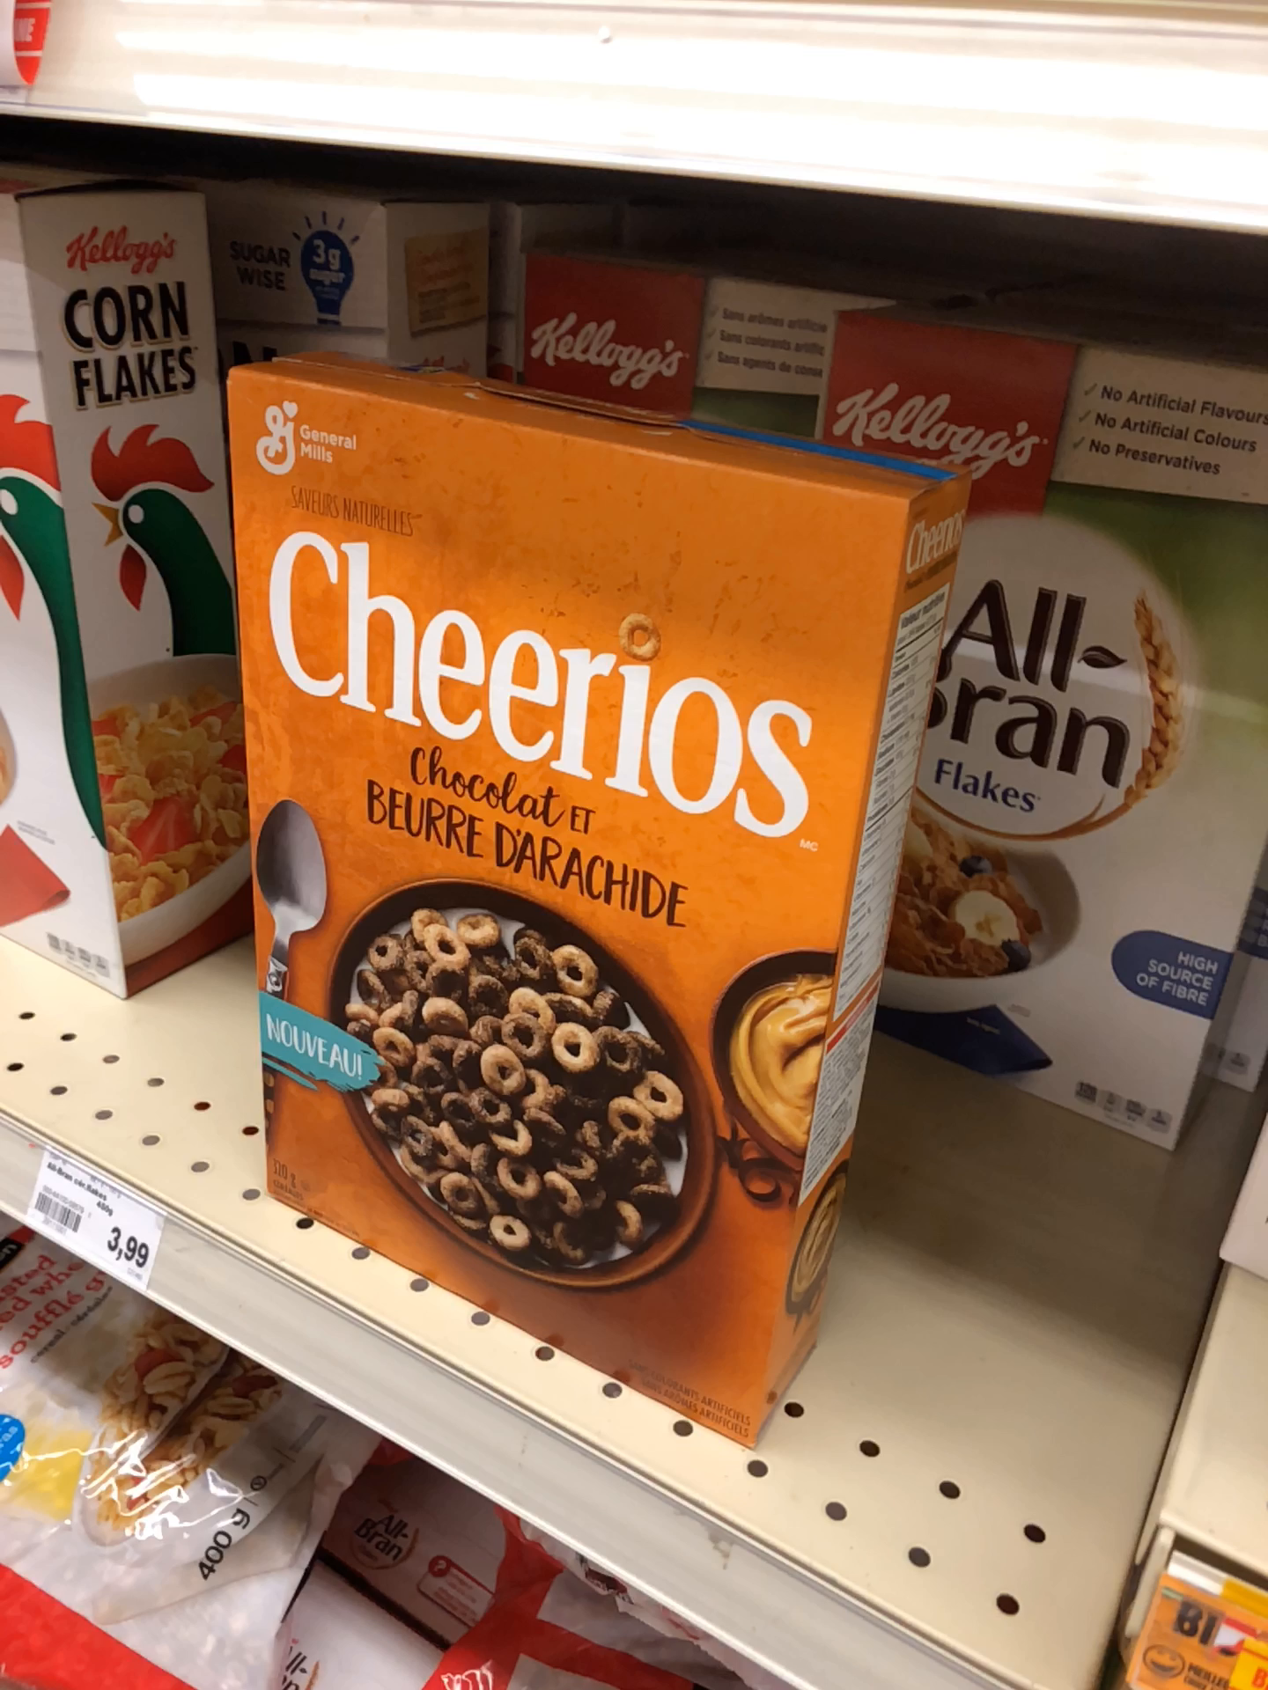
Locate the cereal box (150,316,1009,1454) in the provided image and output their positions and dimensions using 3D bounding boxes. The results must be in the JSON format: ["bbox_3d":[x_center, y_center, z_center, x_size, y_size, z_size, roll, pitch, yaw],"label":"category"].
[{"bbox_3d":[-0.030,0.009,0.391,0.211,0.268,0.050,19,31,26],"label":"cereal box"}]
